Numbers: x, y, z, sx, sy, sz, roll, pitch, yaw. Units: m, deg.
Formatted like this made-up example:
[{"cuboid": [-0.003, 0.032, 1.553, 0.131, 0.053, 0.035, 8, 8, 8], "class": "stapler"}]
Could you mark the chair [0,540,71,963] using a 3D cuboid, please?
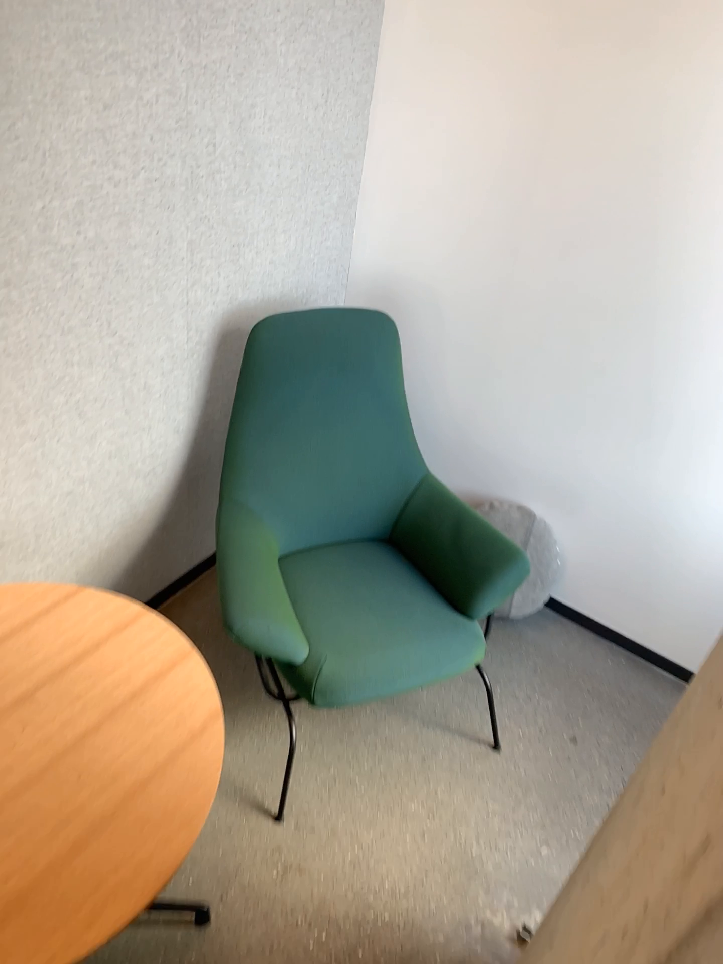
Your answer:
[{"cuboid": [-1.019, 0.856, 0.867, 0.852, 1.034, 0.832, 30, 41, 25], "class": "chair"}]

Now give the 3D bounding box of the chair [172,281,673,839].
[{"cuboid": [0.009, 0.126, 1.991, 0.820, 0.955, 1.005, -8, 40, -22], "class": "chair"}]
